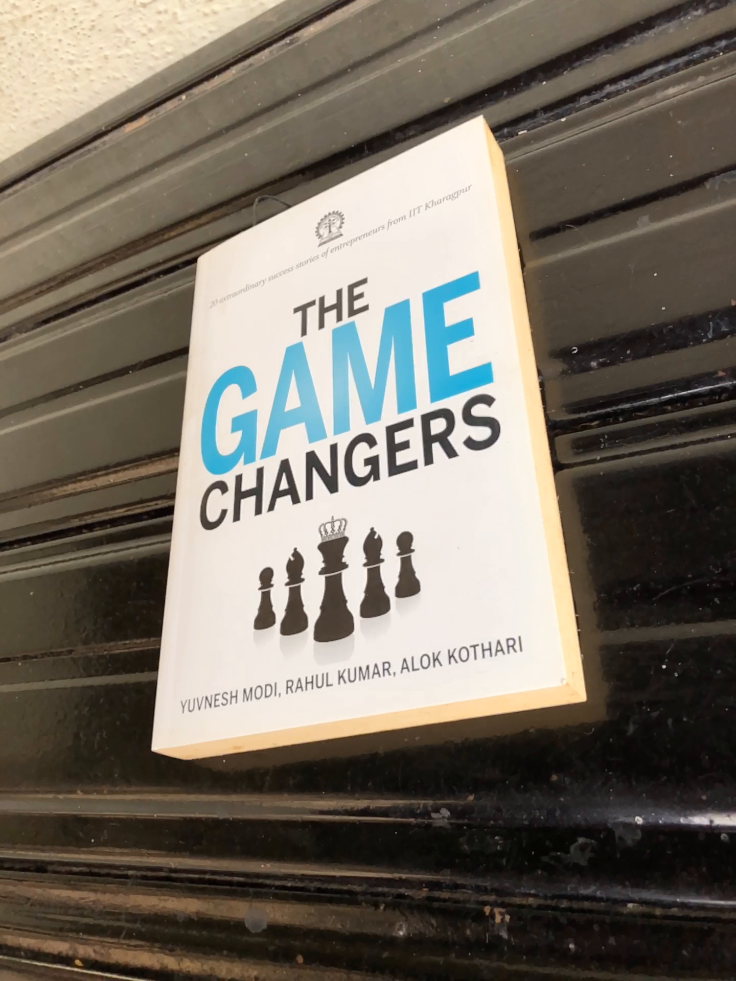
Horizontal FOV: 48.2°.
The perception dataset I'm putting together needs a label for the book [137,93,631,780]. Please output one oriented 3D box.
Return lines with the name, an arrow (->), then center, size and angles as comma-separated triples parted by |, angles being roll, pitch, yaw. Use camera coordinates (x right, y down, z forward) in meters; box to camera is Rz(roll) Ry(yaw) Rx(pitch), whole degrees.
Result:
book -> -0.004, -0.021, 0.278 | 0.140, 0.030, 0.210 | -17, 58, 27
